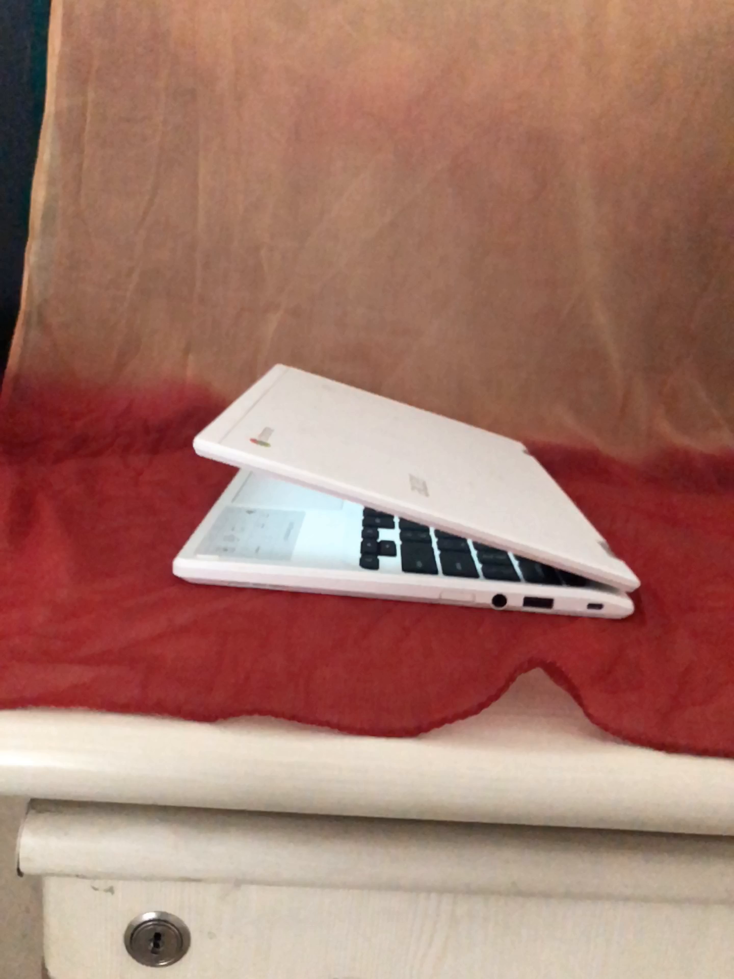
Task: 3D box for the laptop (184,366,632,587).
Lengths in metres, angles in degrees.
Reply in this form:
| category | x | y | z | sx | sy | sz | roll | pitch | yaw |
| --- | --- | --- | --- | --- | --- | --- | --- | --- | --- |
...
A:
| category | x | y | z | sx | sy | sz | roll | pitch | yaw |
| --- | --- | --- | --- | --- | --- | --- | --- | --- | --- |
| laptop | 0.020 | -0.026 | 0.493 | 0.189 | 0.055 | 0.289 | 5 | 14 | 1 |
